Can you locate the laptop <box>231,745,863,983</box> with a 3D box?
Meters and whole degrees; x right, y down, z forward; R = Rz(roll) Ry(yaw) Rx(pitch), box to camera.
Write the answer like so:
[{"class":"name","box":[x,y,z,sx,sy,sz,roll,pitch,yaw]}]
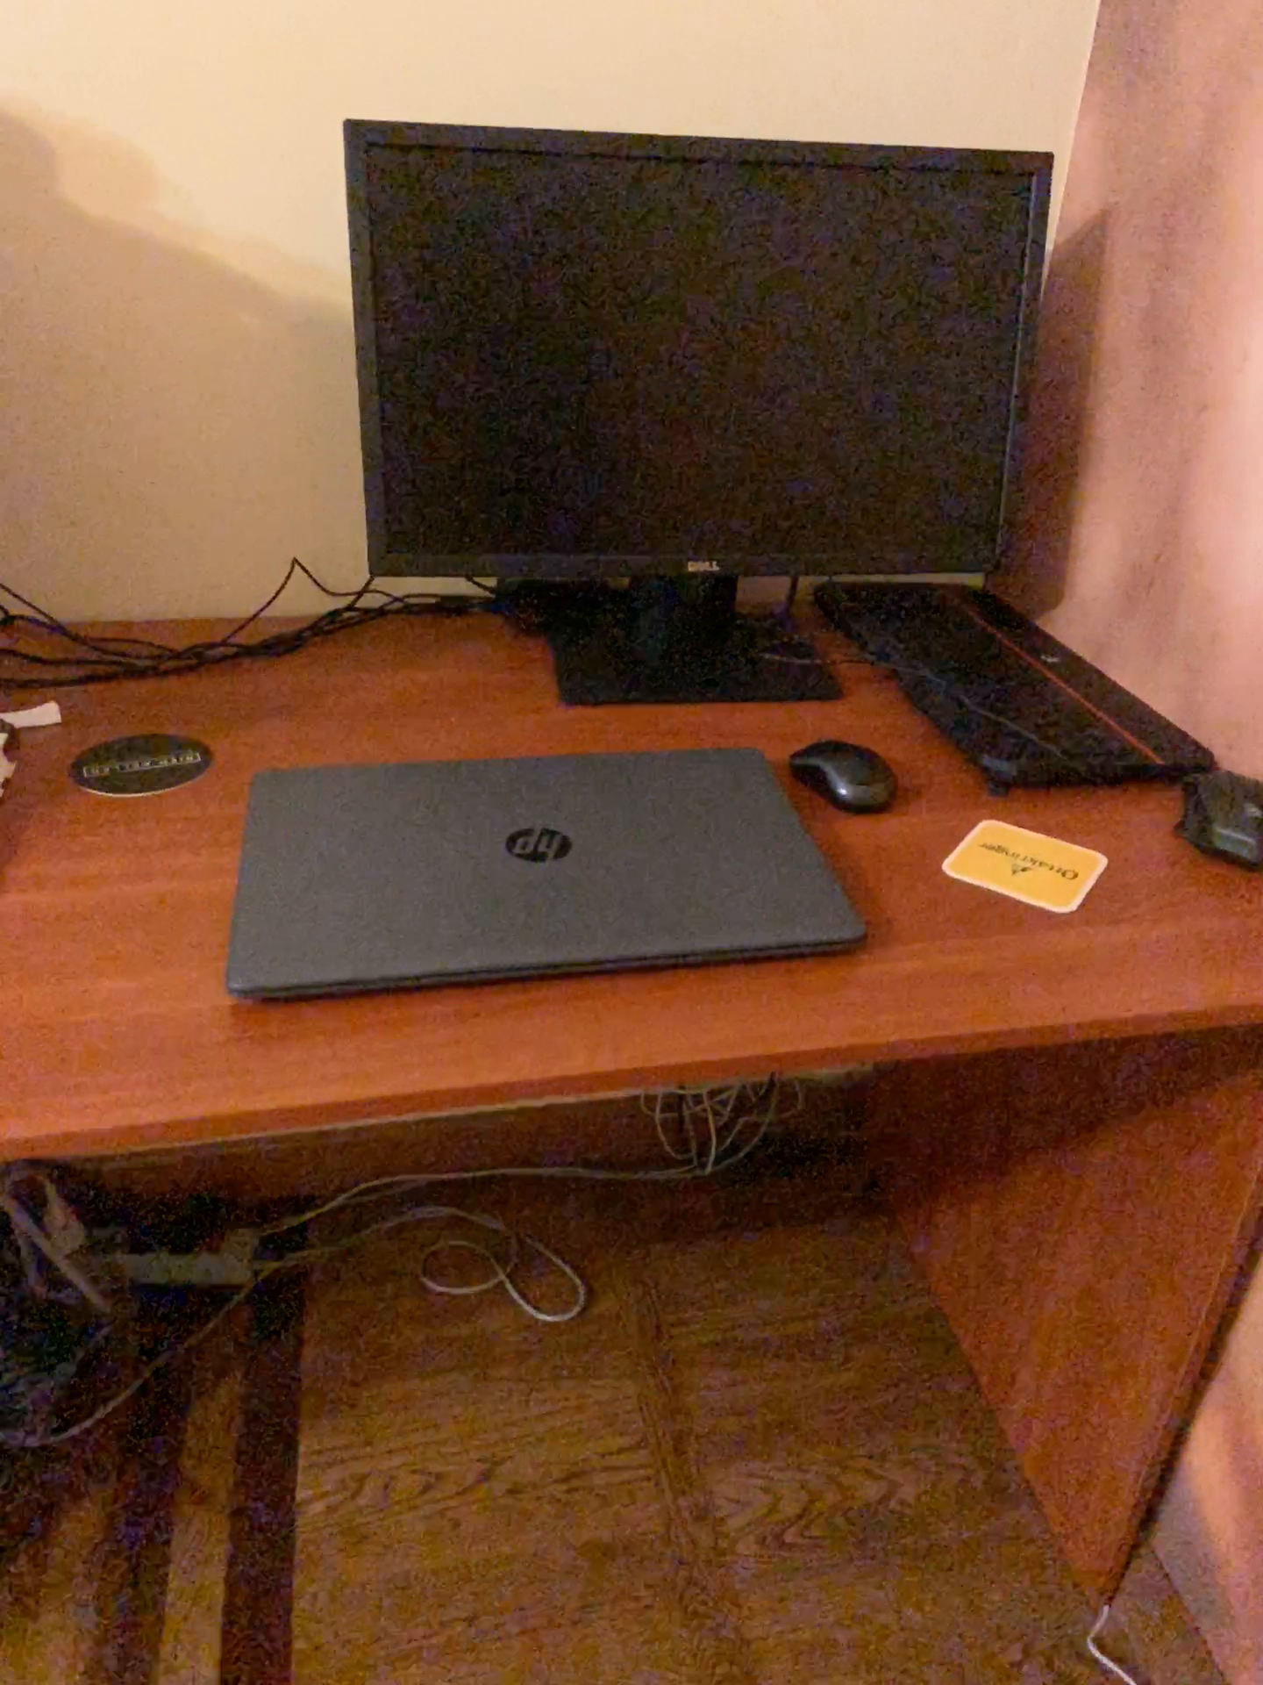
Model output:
[{"class":"laptop","box":[-0.066,0.002,0.846,0.368,0.005,0.248,-4,32,-10]}]
